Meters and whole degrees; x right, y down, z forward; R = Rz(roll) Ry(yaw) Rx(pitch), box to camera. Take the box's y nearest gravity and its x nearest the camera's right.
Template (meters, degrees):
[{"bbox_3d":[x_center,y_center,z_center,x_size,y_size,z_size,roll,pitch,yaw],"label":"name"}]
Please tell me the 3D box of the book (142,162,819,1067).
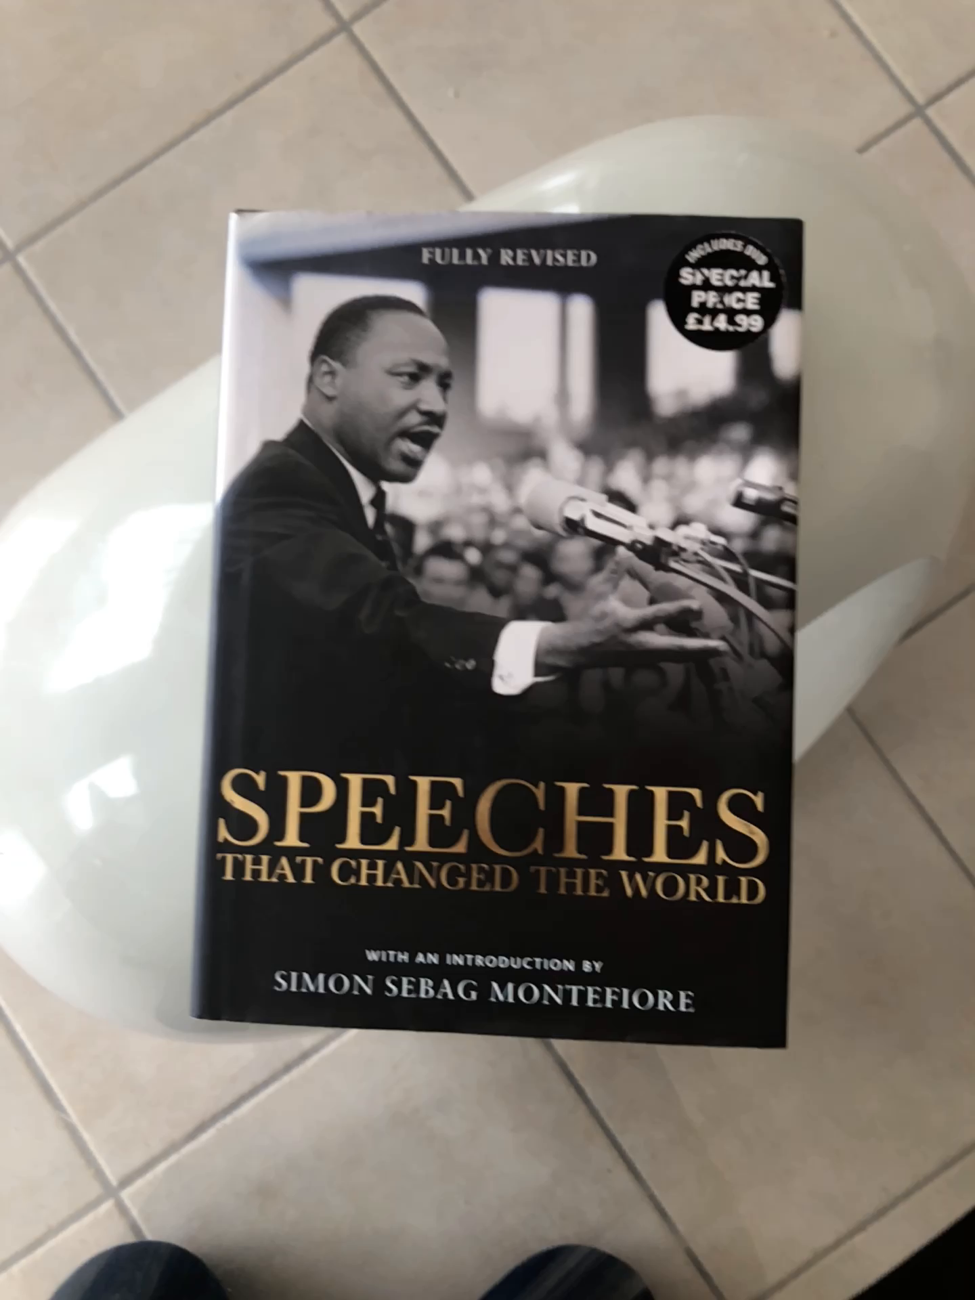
[{"bbox_3d":[0.001,-0.017,0.372,0.210,0.040,0.290,2,85,2],"label":"book"}]
